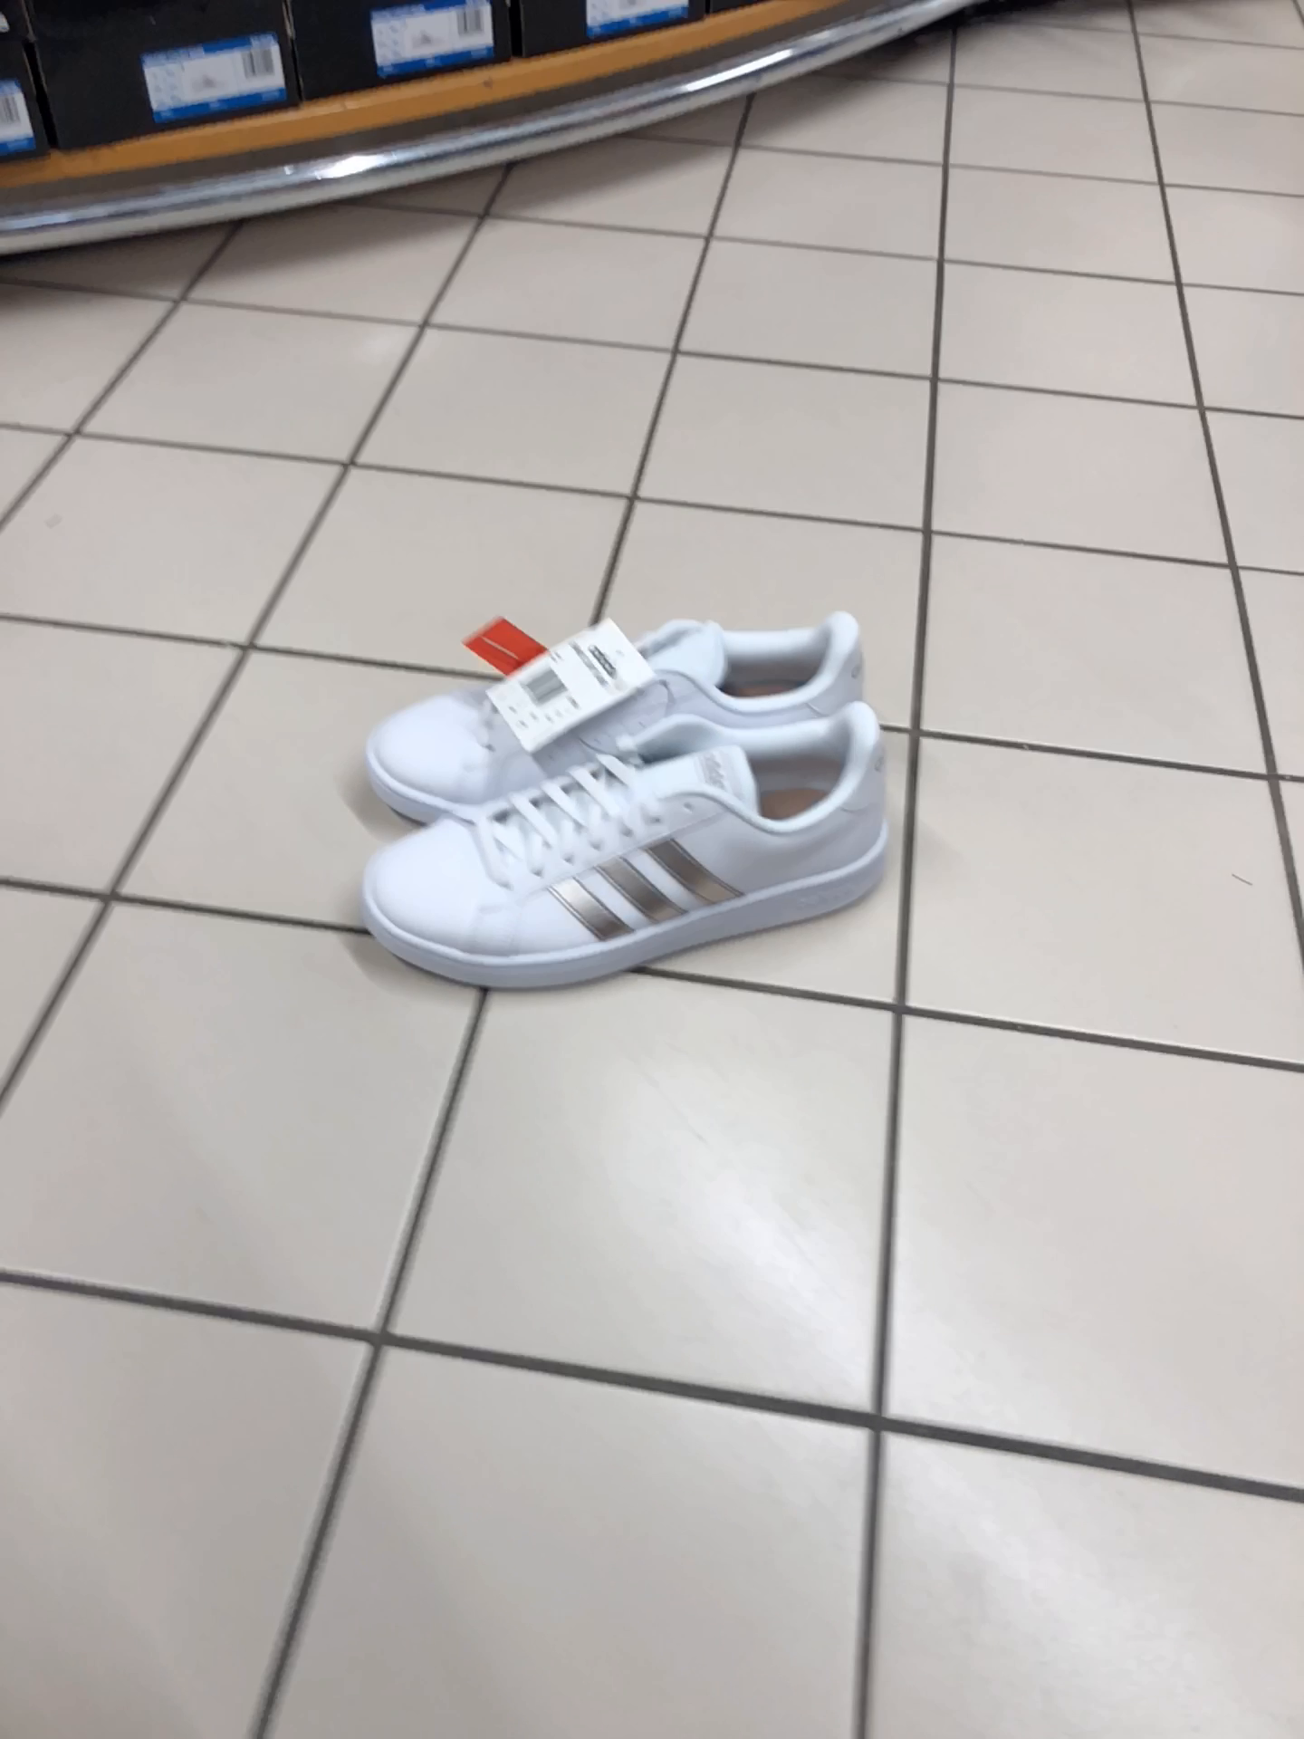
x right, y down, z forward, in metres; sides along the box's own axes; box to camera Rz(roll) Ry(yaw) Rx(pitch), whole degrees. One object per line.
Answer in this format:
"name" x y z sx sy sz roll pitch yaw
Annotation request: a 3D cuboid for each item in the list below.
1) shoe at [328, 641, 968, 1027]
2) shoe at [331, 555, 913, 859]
"shoe" -0.004 -0.021 0.699 0.280 0.099 0.100 -11 49 -12
"shoe" -0.019 -0.087 0.753 0.280 0.099 0.101 -5 48 -7
